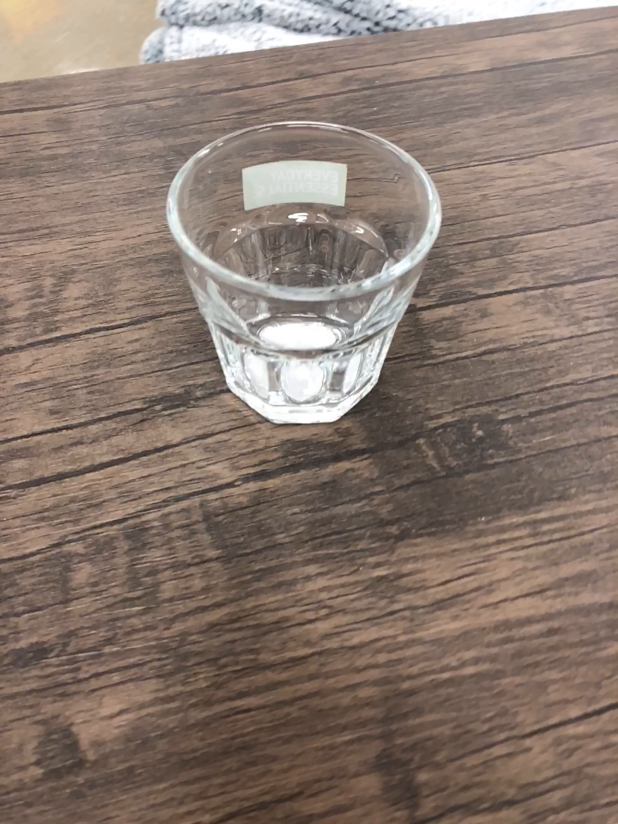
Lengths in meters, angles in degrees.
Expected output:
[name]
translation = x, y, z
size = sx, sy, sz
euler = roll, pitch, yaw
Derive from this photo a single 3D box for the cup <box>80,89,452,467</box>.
[cup]
translation = -0.007, -0.046, 0.231
size = 0.090, 0.070, 0.090
euler = 0, 55, 0
